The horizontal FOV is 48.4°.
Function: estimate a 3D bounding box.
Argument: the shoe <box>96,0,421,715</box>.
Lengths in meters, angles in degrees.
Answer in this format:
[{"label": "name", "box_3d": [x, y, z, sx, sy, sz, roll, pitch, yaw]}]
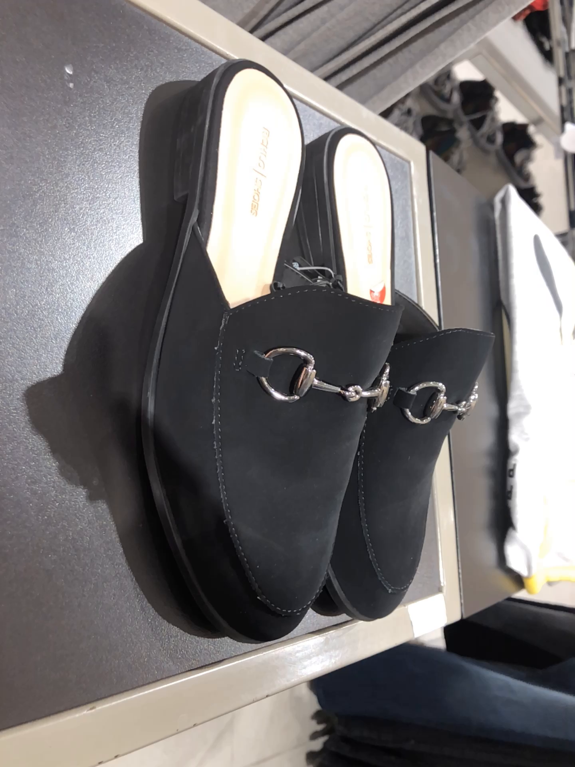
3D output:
[{"label": "shoe", "box_3d": [-0.008, -0.012, 0.248, 0.091, 0.079, 0.220, 6, 84, -46]}]

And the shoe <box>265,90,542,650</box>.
[{"label": "shoe", "box_3d": [0.055, -0.005, 0.305, 0.091, 0.070, 0.220, 2, 81, -47]}]
